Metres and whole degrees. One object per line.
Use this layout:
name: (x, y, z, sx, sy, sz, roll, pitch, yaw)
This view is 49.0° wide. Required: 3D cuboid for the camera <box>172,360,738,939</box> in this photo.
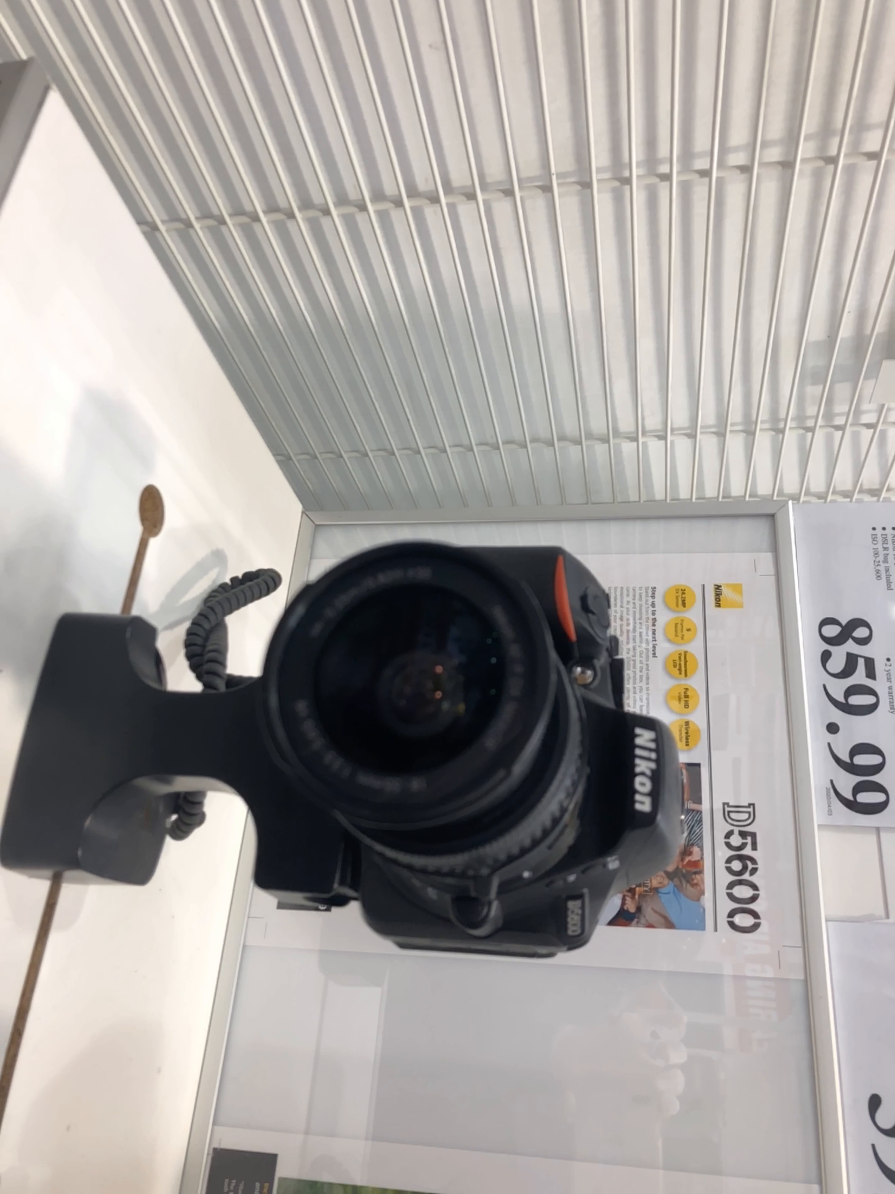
camera: (0.016, 0.031, 0.283, 0.160, 0.110, 0.120, 63, 28, -68)
